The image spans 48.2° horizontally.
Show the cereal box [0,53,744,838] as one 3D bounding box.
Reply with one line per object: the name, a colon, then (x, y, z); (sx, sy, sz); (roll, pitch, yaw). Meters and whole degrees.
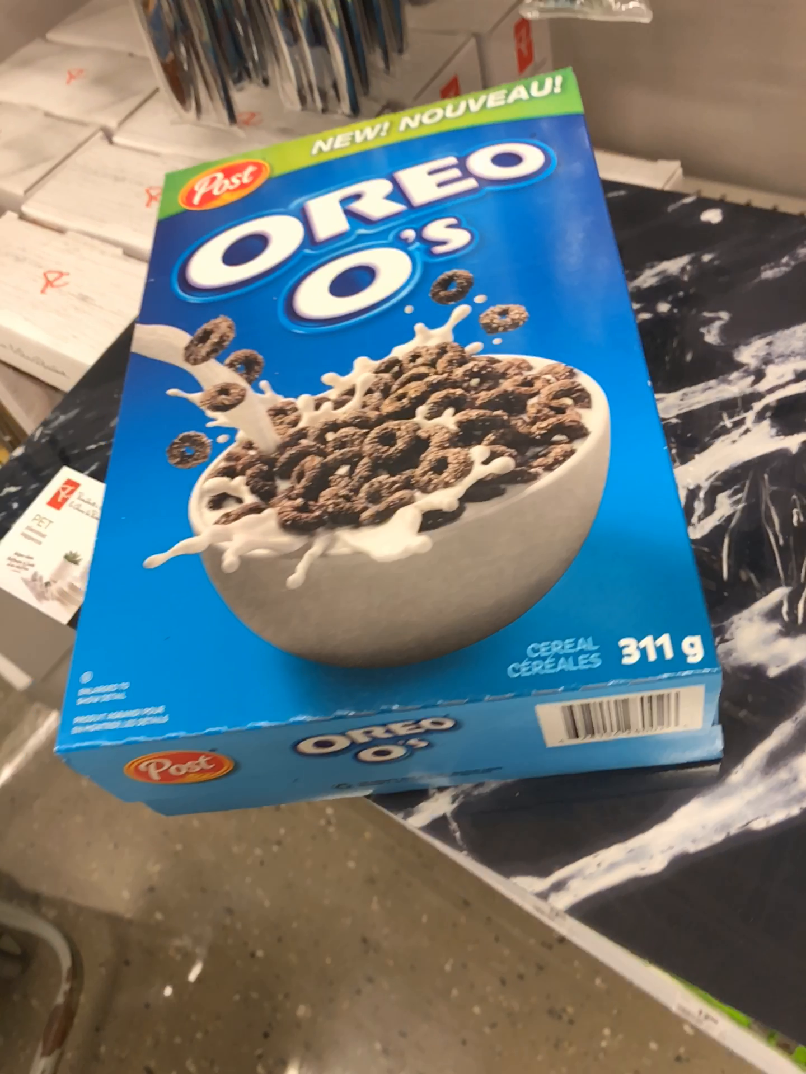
cereal box: (-0.015, -0.053, 0.351); (0.210, 0.070, 0.300); (-9, 54, 10)
